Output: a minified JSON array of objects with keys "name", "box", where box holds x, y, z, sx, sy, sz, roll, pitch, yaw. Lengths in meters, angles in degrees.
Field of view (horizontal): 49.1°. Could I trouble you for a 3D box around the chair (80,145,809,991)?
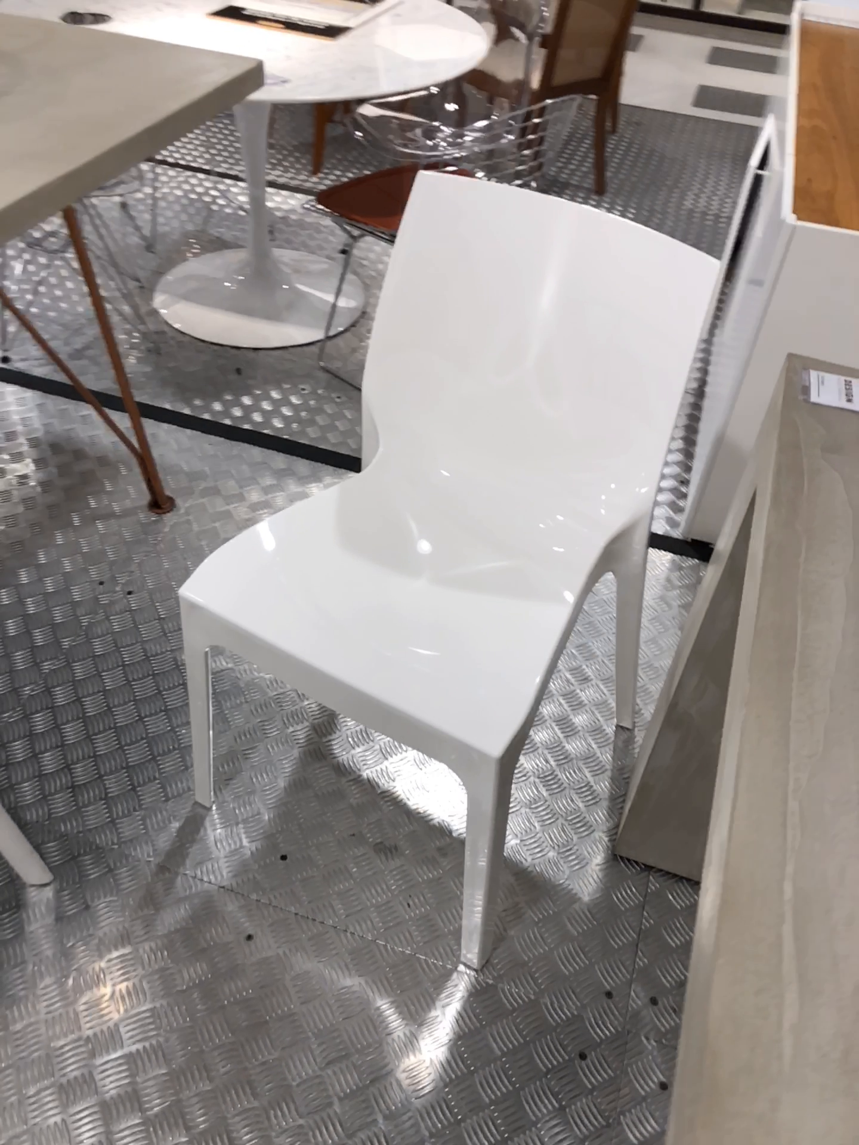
[{"name":"chair","box":[0.024,-0.007,1.187,0.521,0.764,0.544,25,46,19]}]
